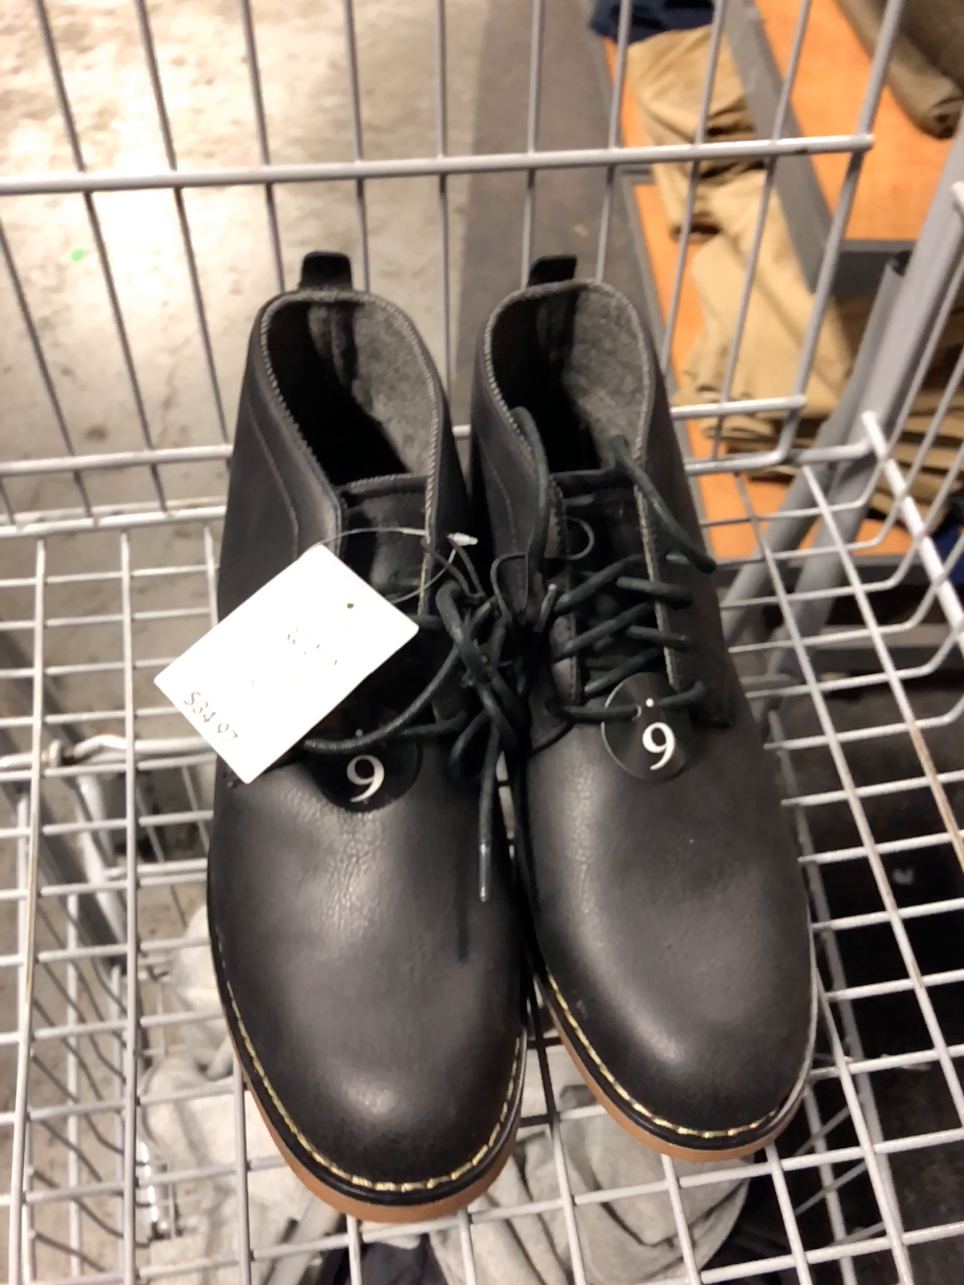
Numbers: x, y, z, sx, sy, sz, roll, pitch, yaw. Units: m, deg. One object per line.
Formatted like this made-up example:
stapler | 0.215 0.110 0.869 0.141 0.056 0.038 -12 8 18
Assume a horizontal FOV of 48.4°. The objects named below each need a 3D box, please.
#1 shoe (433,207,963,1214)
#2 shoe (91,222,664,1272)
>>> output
shoe | 0.051 0.026 0.364 0.100 0.199 0.272 -5 58 -7
shoe | -0.041 0.037 0.340 0.100 0.199 0.261 -5 58 -7
